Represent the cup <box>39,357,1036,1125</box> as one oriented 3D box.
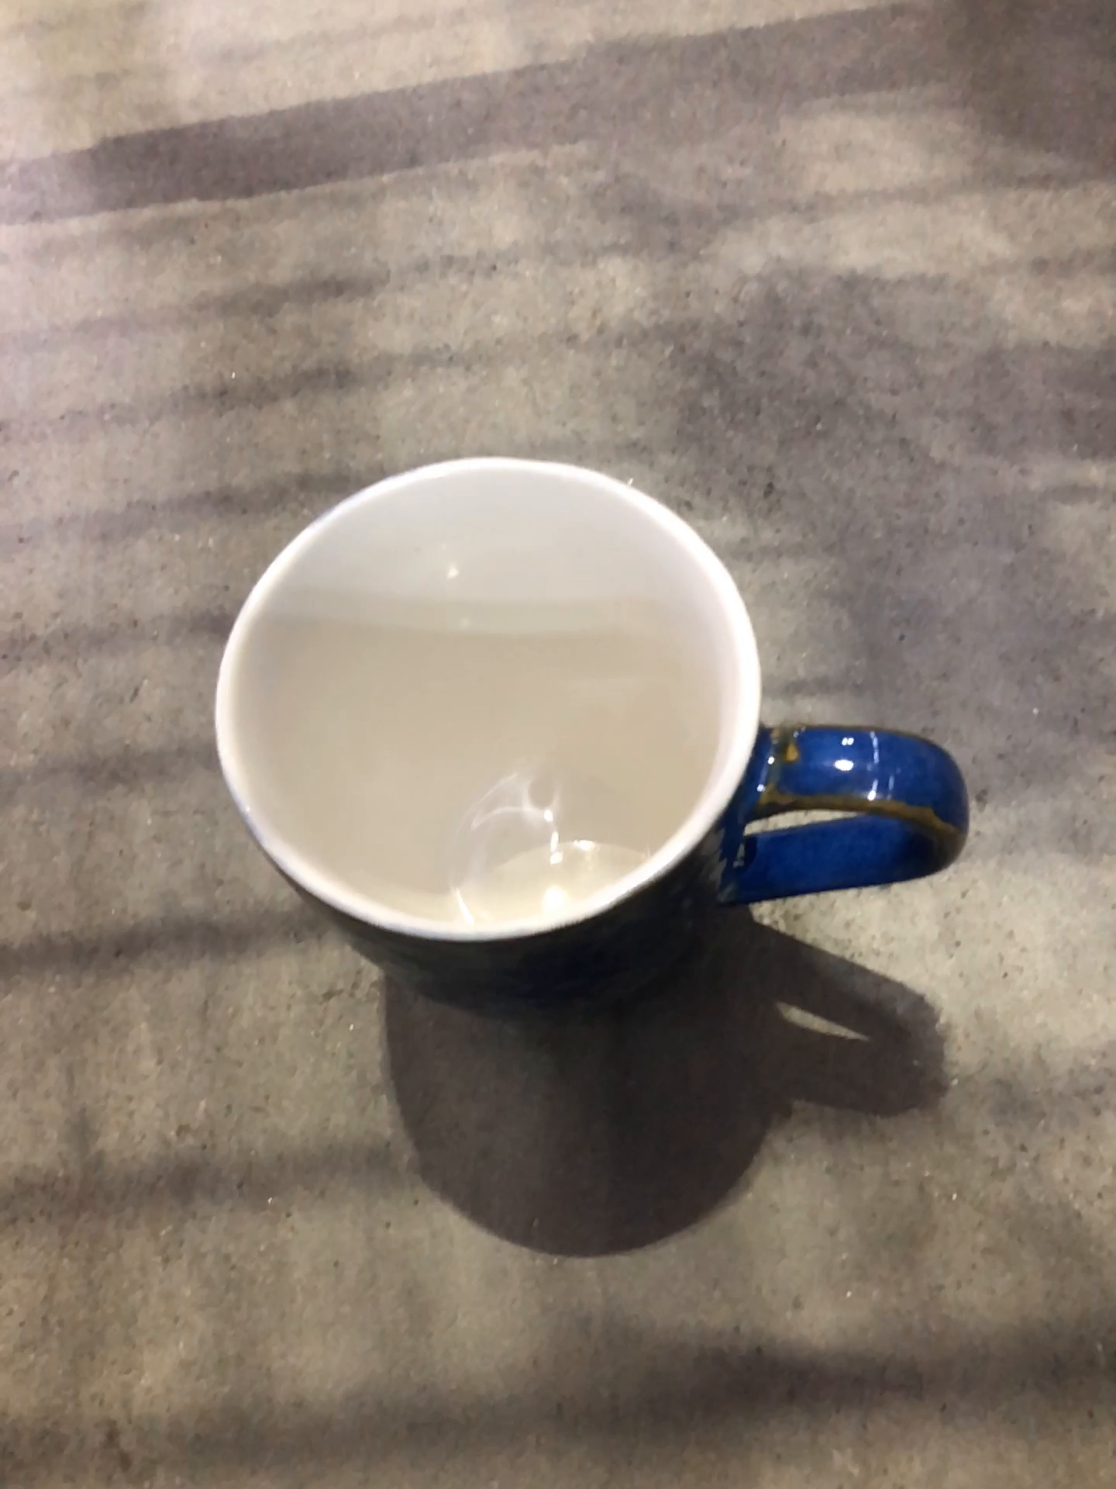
[{"bbox_3d":[0.004,0.001,0.183,0.110,0.070,0.080,7,67,11],"label":"cup"}]
